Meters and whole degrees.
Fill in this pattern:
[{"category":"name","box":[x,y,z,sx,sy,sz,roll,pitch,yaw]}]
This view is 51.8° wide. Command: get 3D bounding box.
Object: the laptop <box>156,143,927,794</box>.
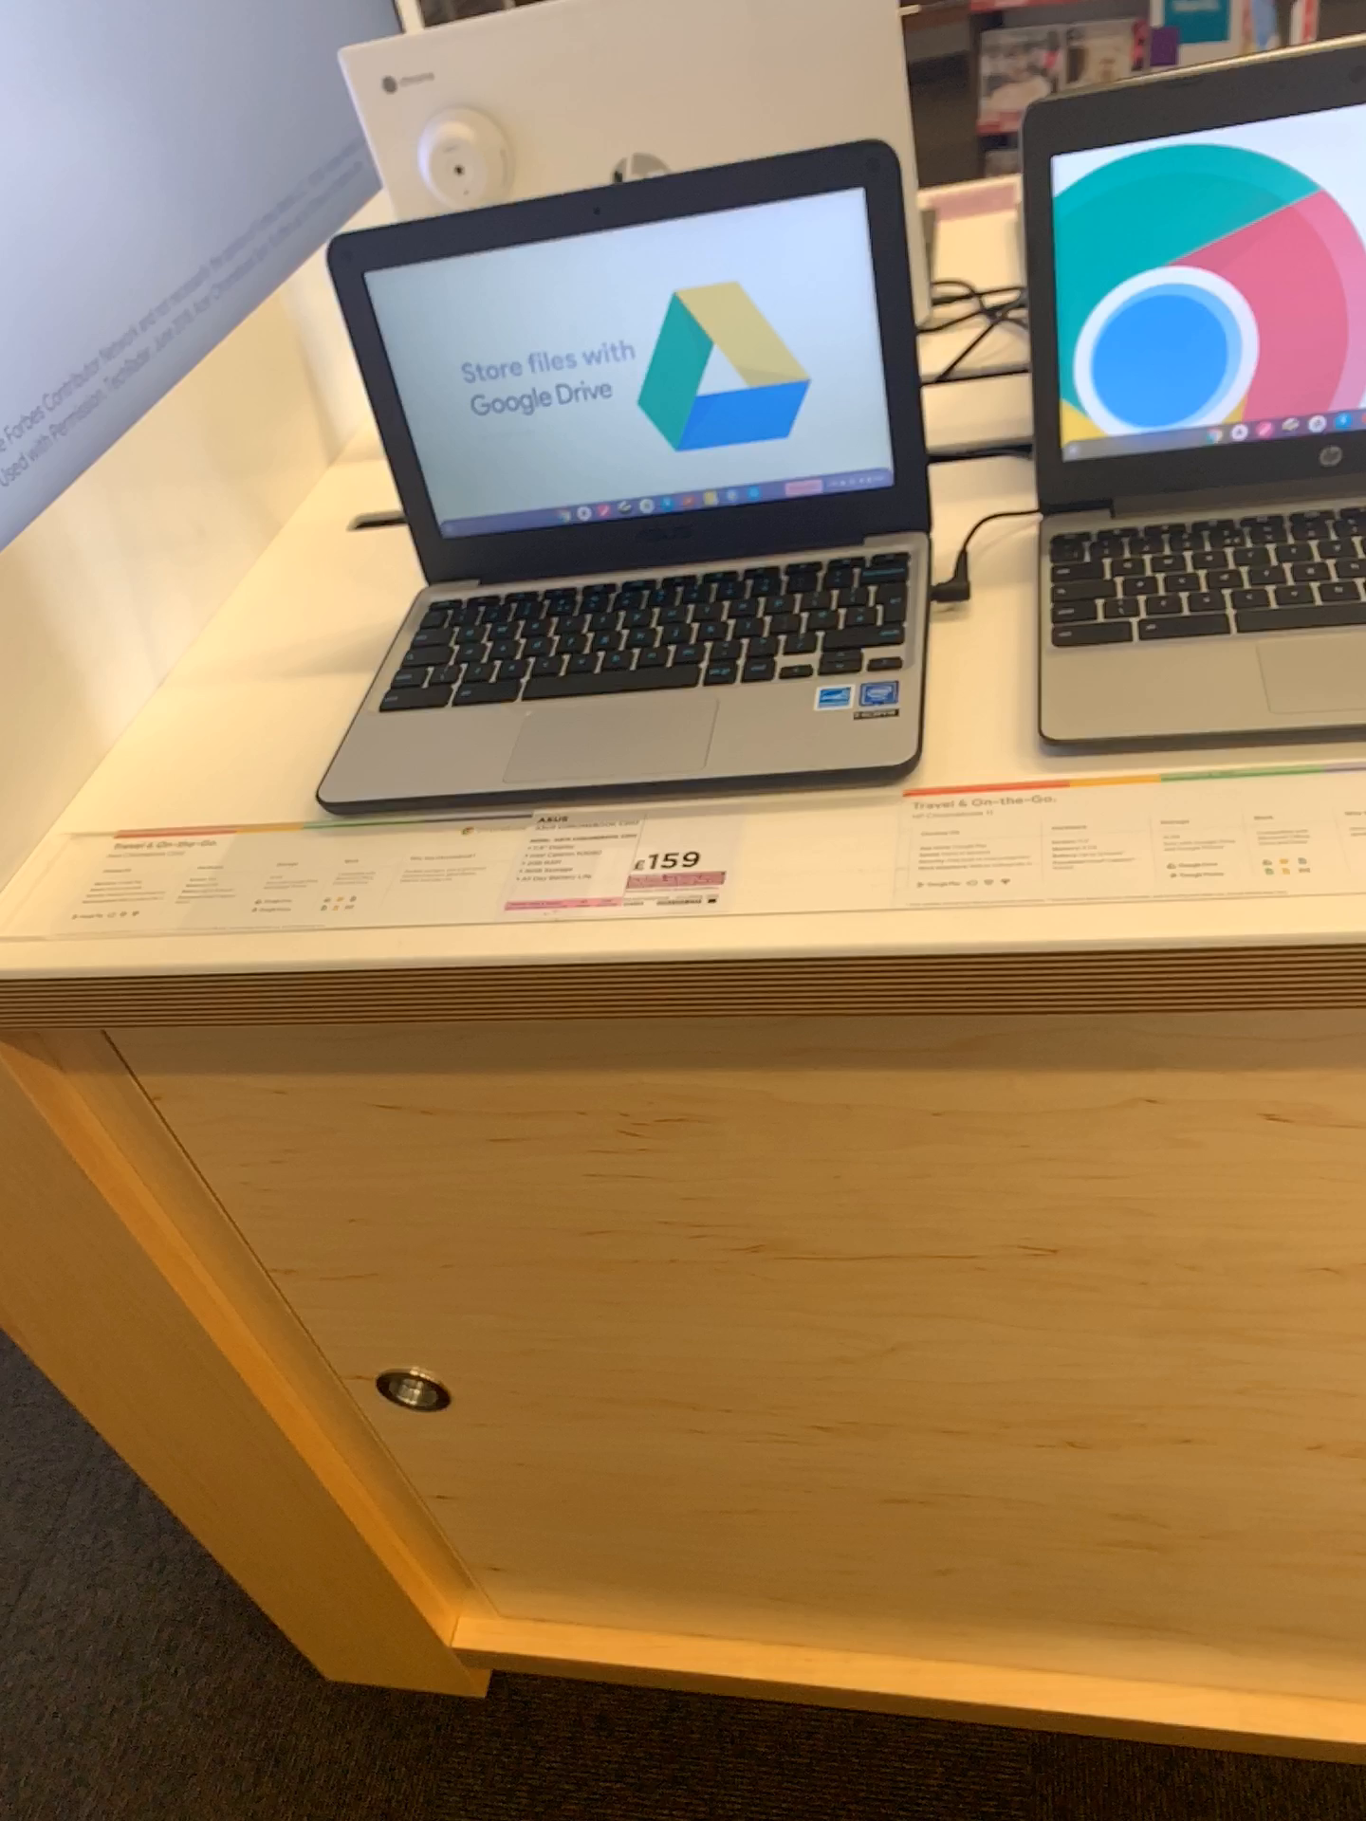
[{"category":"laptop","box":[-0.038,-0.201,0.652,0.280,0.183,0.217,-3,42,15]}]
